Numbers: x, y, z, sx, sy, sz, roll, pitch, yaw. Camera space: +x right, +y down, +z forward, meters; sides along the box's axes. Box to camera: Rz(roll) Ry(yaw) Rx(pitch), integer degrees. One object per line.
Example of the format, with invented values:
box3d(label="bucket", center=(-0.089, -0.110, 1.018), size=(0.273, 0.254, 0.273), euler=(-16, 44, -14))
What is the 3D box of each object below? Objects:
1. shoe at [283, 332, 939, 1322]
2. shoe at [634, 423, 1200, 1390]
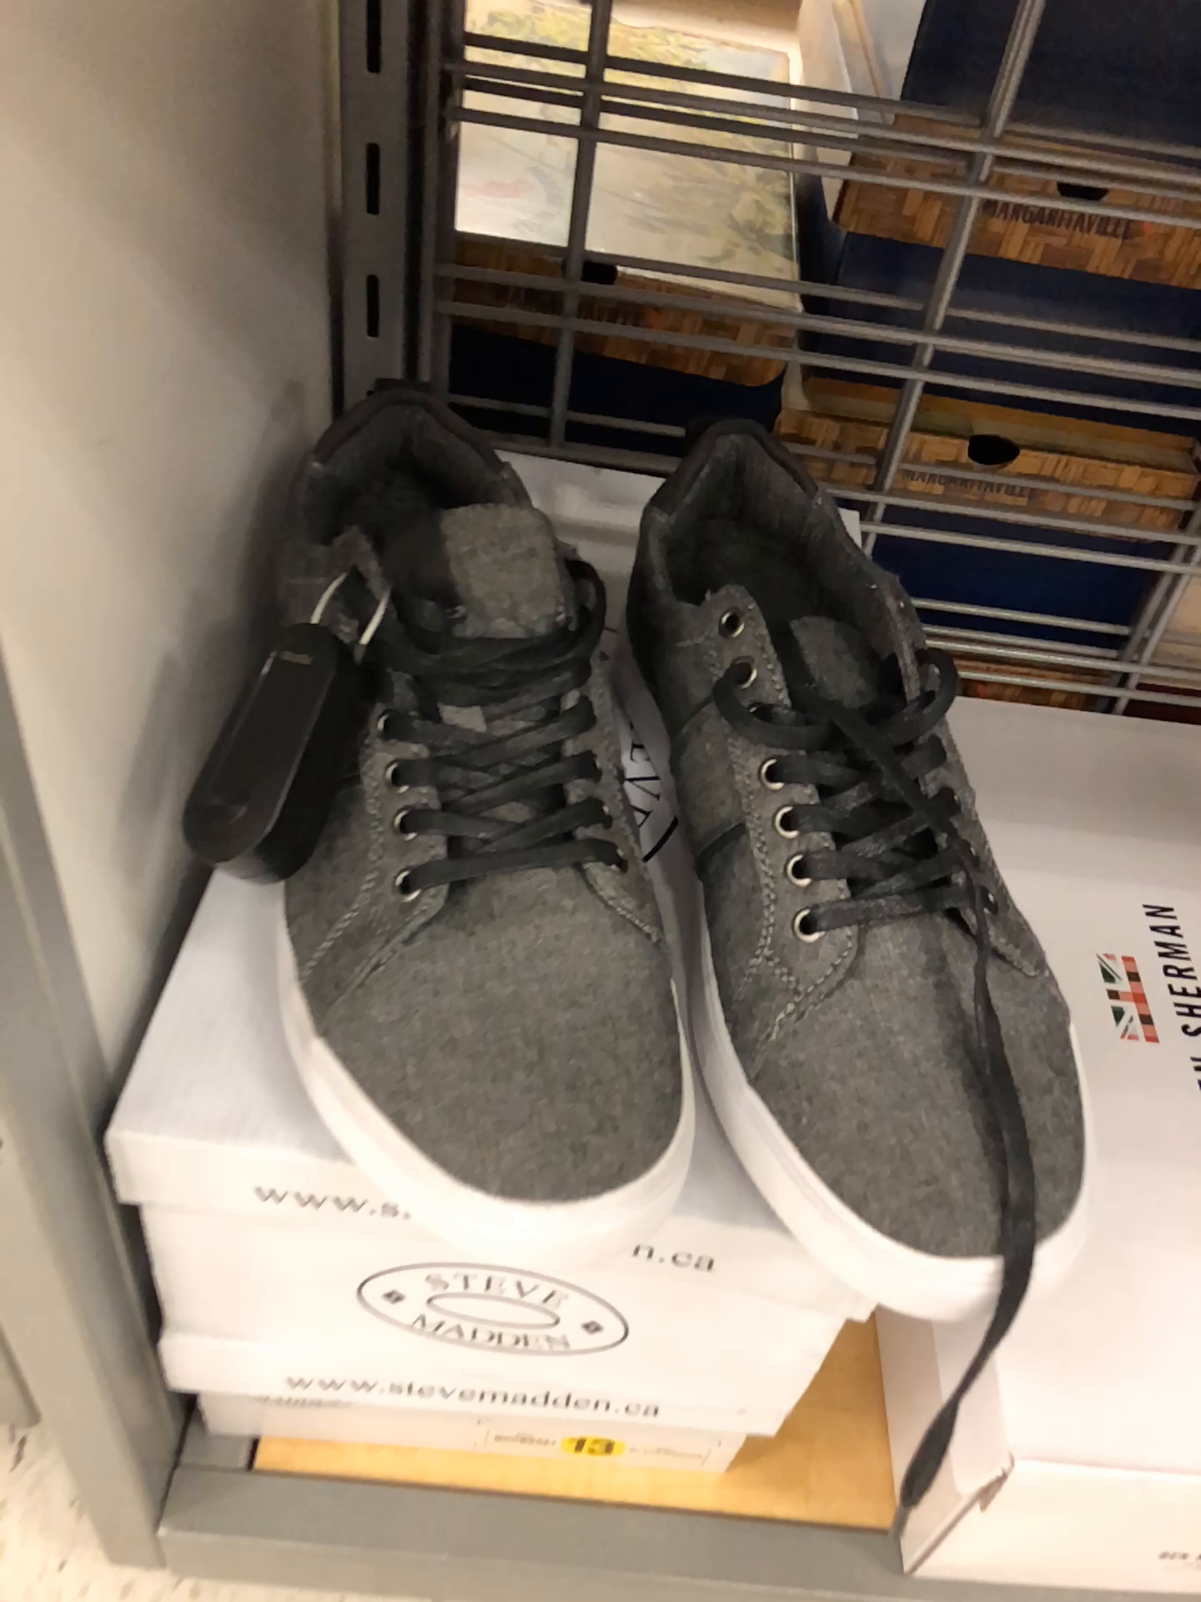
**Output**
box3d(label="shoe", center=(-0.022, -0.014, 0.360), size=(0.110, 0.106, 0.255), euler=(-3, 46, -13))
box3d(label="shoe", center=(0.086, 0.010, 0.374), size=(0.100, 0.106, 0.255), euler=(-1, 46, -11))
